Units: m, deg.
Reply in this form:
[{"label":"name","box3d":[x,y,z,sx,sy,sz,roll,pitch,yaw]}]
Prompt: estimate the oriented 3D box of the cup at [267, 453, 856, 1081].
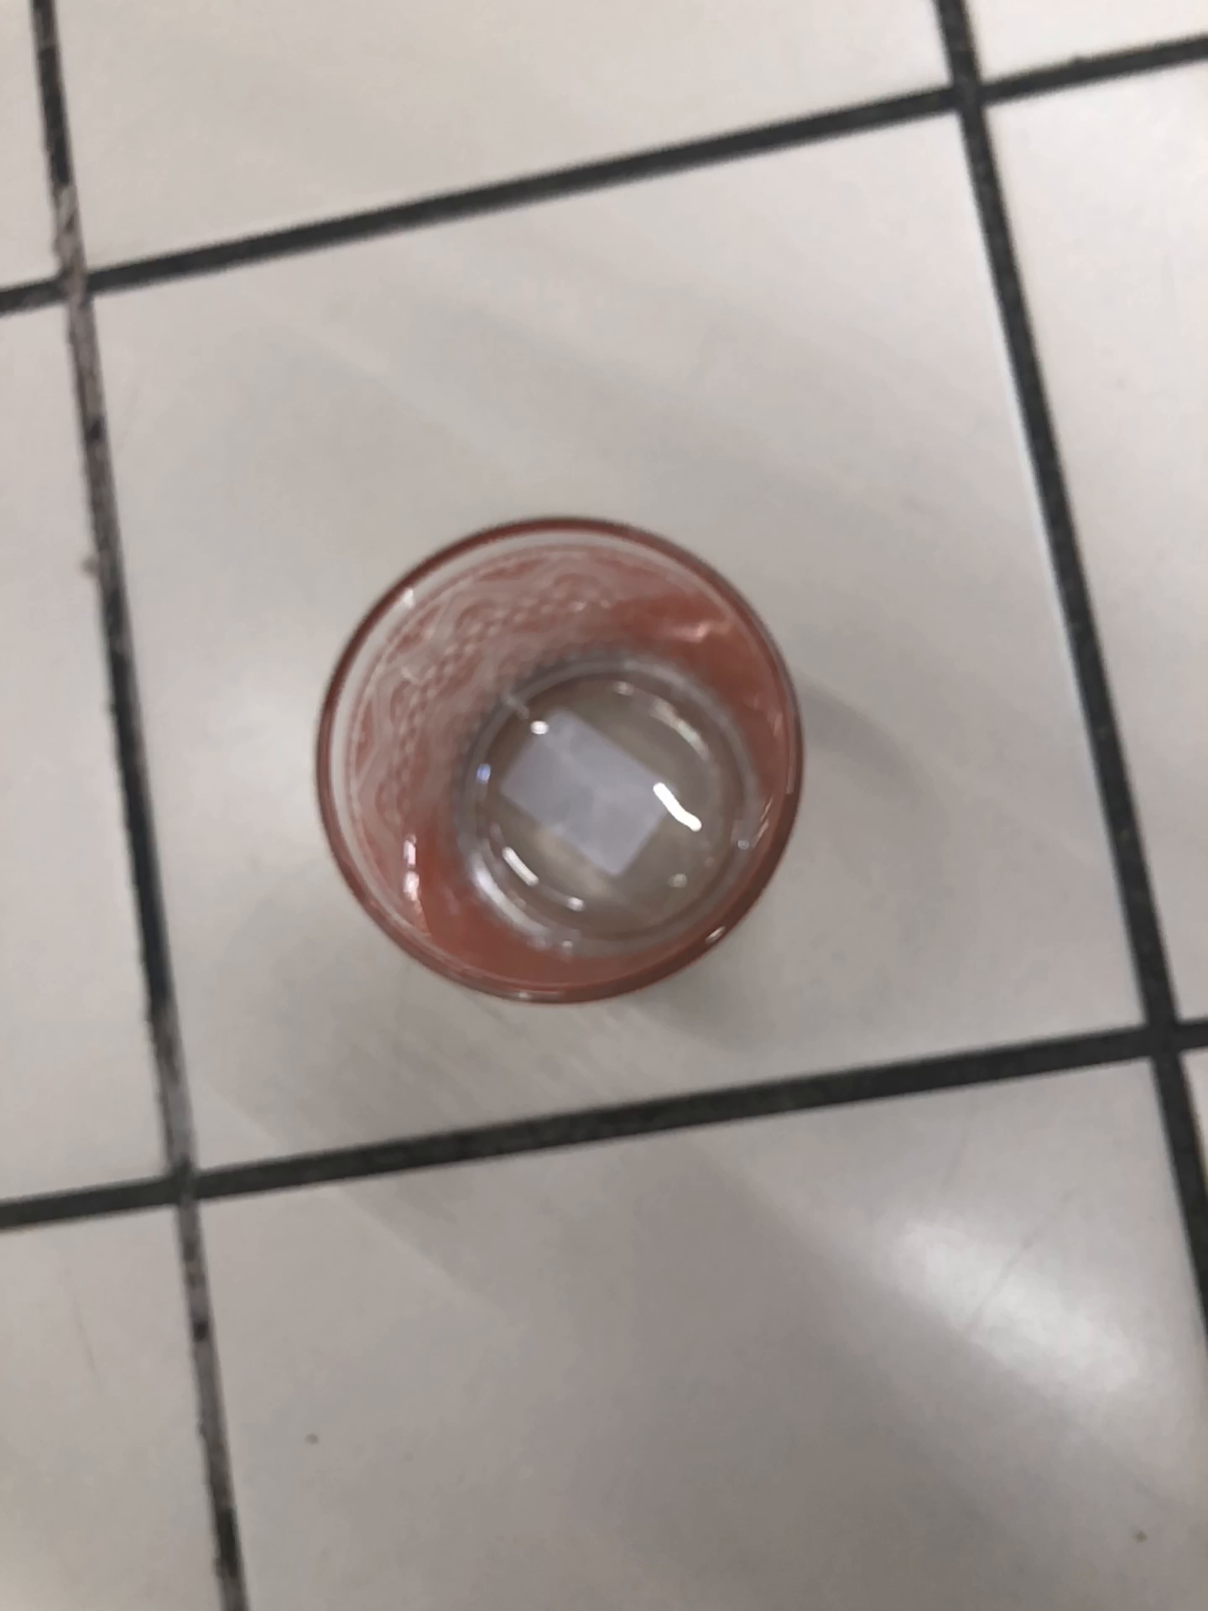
[{"label":"cup","box3d":[-0.004,-0.002,0.242,0.078,0.078,0.083,-1,84,6]}]
